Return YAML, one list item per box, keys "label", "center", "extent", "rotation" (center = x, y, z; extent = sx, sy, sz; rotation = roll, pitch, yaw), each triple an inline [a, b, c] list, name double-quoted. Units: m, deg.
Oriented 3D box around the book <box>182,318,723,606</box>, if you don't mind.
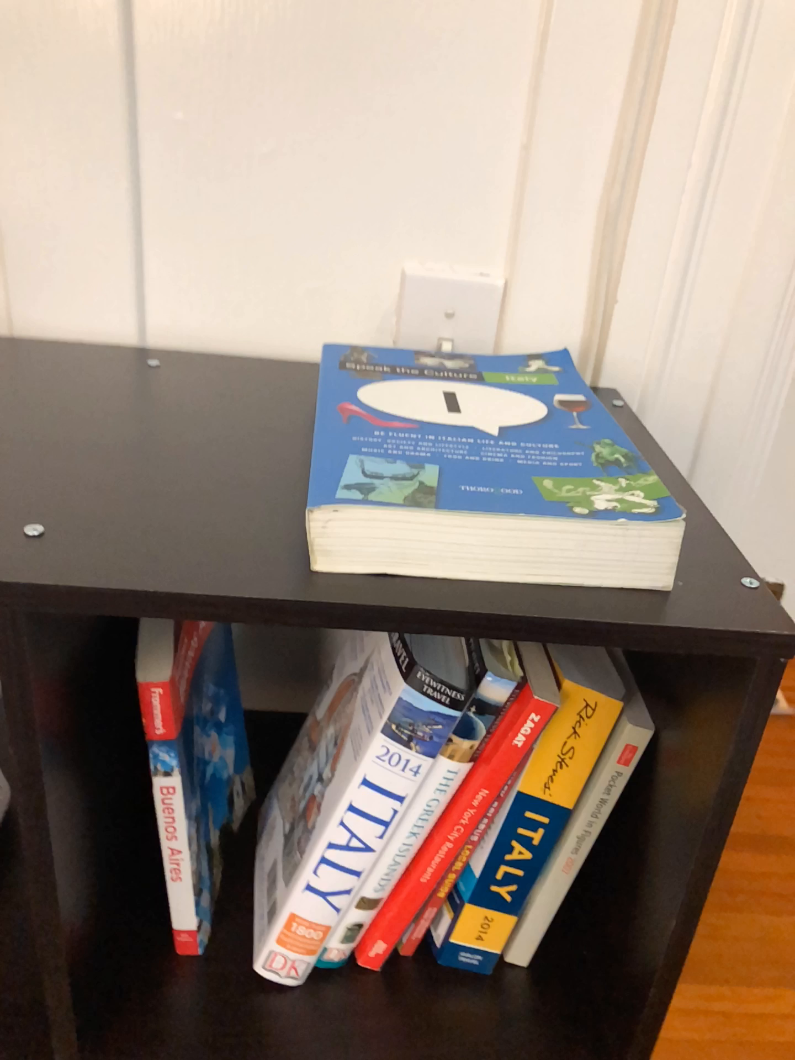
- label: "book"
  center: [0.013, -0.050, 0.443]
  extent: [0.200, 0.030, 0.262]
  rotation: [3, 28, -6]
